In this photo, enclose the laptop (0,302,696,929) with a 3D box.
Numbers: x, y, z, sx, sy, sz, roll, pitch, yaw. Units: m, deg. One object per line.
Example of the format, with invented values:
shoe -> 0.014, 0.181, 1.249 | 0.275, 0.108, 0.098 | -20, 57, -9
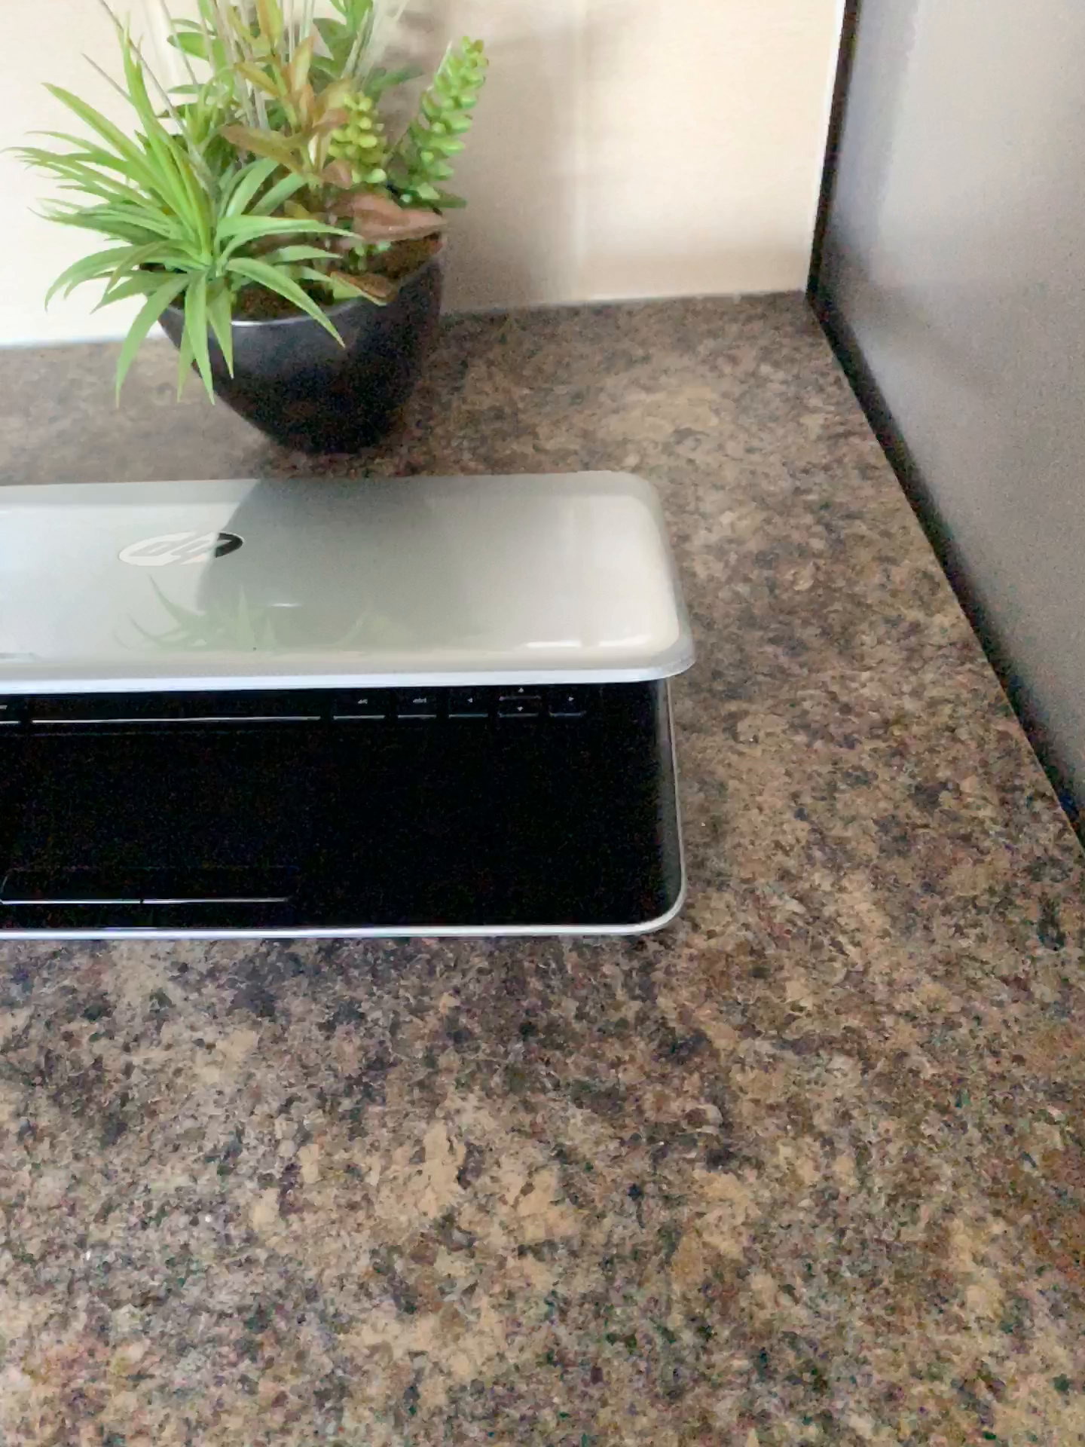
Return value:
laptop -> -0.122, -0.046, 0.383 | 0.328, 0.081, 0.208 | -1, 48, 3
